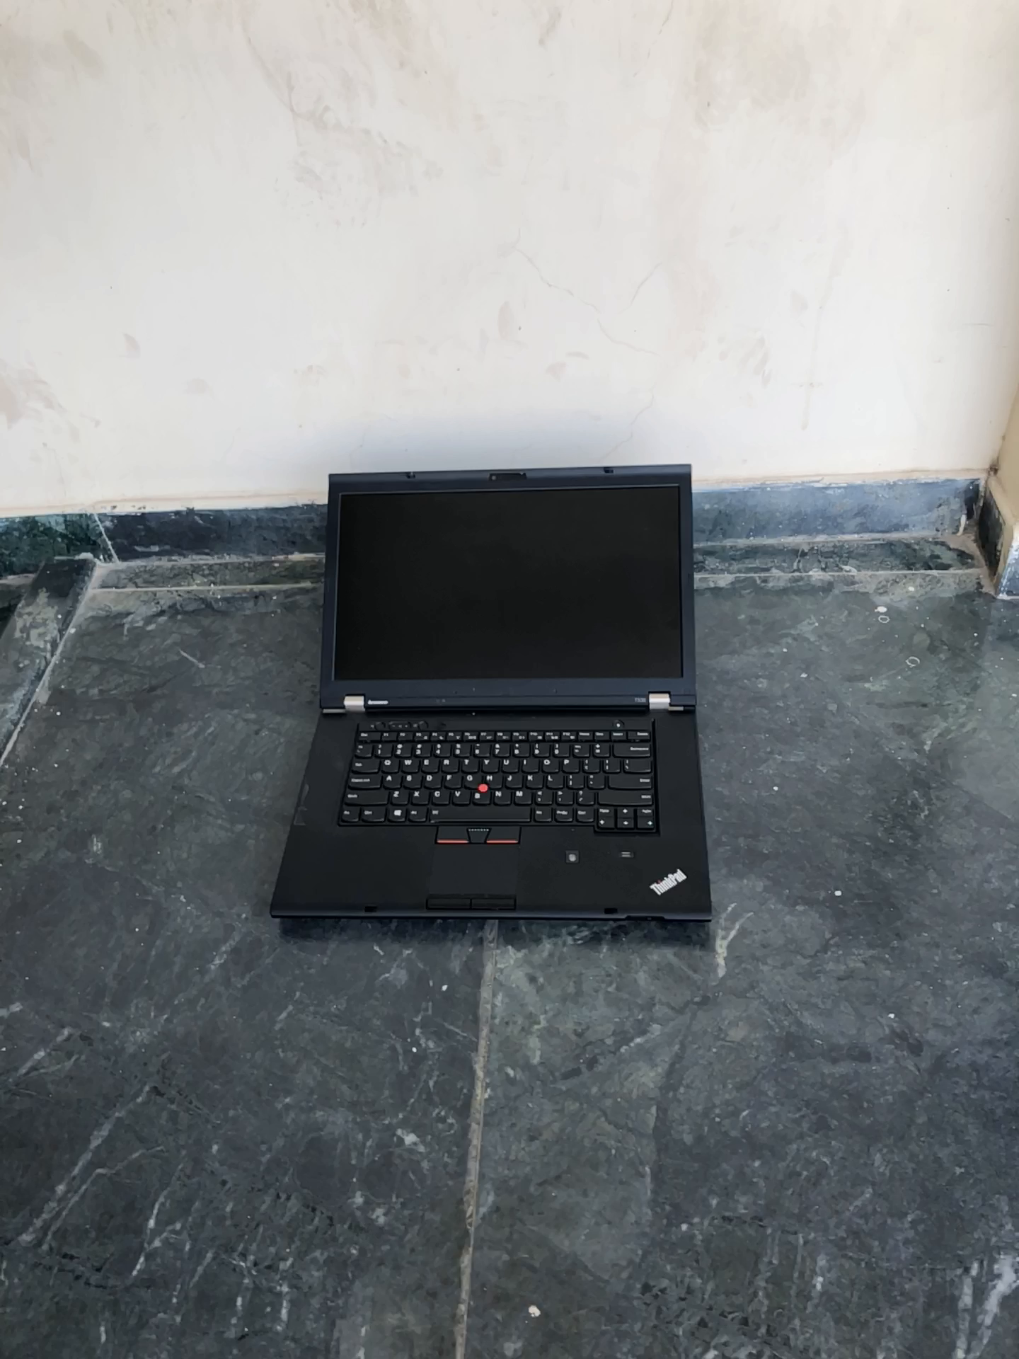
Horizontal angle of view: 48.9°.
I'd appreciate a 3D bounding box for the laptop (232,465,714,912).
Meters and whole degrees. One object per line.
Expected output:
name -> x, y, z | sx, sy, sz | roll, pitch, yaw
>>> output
laptop -> -0.010, -0.009, 0.891 | 0.311, 0.115, 0.377 | -1, 45, 5
